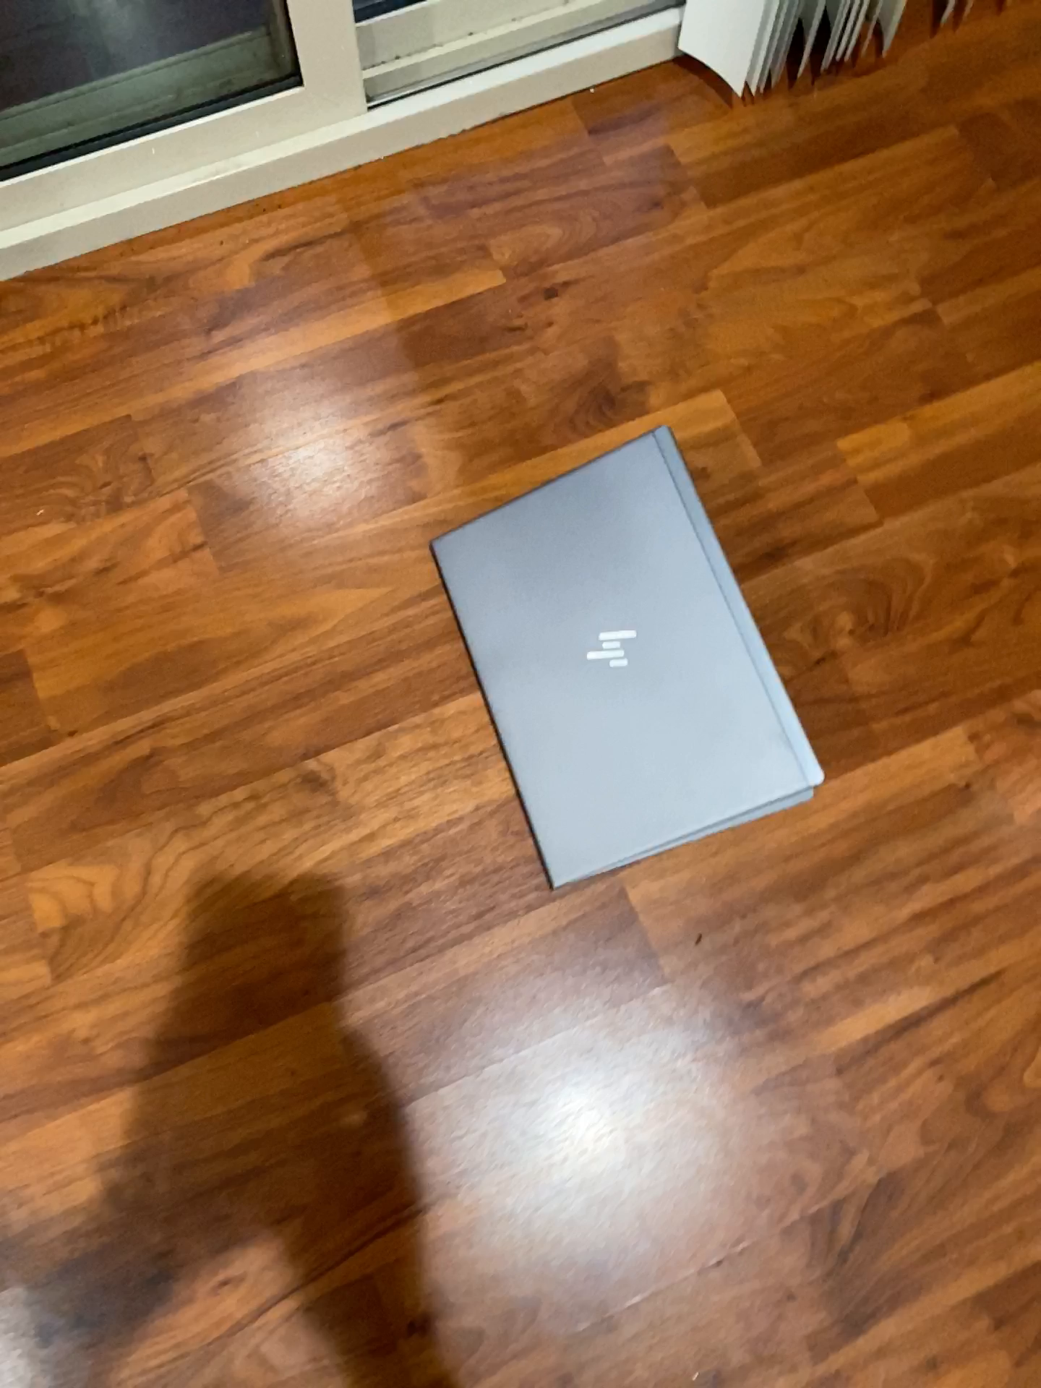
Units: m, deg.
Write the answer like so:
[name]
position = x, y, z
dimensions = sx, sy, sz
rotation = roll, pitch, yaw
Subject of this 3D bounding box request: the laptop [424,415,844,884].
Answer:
[laptop]
position = 0.084, -0.041, 0.871
dimensions = 0.230, 0.078, 0.325
rotation = -18, 74, -8
